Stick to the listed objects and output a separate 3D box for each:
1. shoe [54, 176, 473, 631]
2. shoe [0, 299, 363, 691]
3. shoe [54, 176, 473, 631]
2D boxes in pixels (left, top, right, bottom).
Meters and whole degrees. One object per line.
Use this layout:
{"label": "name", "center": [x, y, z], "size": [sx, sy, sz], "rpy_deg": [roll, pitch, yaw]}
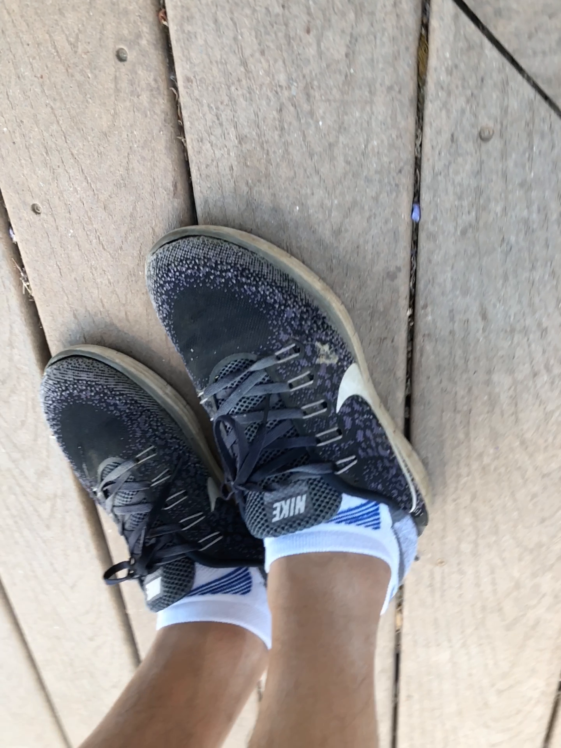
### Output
{"label": "shoe", "center": [0.004, 0.028, 0.413], "size": [0.120, 0.100, 0.270], "rpy_deg": [-30, 107, 29]}
{"label": "shoe", "center": [-0.078, 0.104, 0.491], "size": [0.120, 0.090, 0.300], "rpy_deg": [-33, 105, 29]}
{"label": "shoe", "center": [0.004, 0.028, 0.413], "size": [0.120, 0.100, 0.270], "rpy_deg": [-30, 107, 29]}
